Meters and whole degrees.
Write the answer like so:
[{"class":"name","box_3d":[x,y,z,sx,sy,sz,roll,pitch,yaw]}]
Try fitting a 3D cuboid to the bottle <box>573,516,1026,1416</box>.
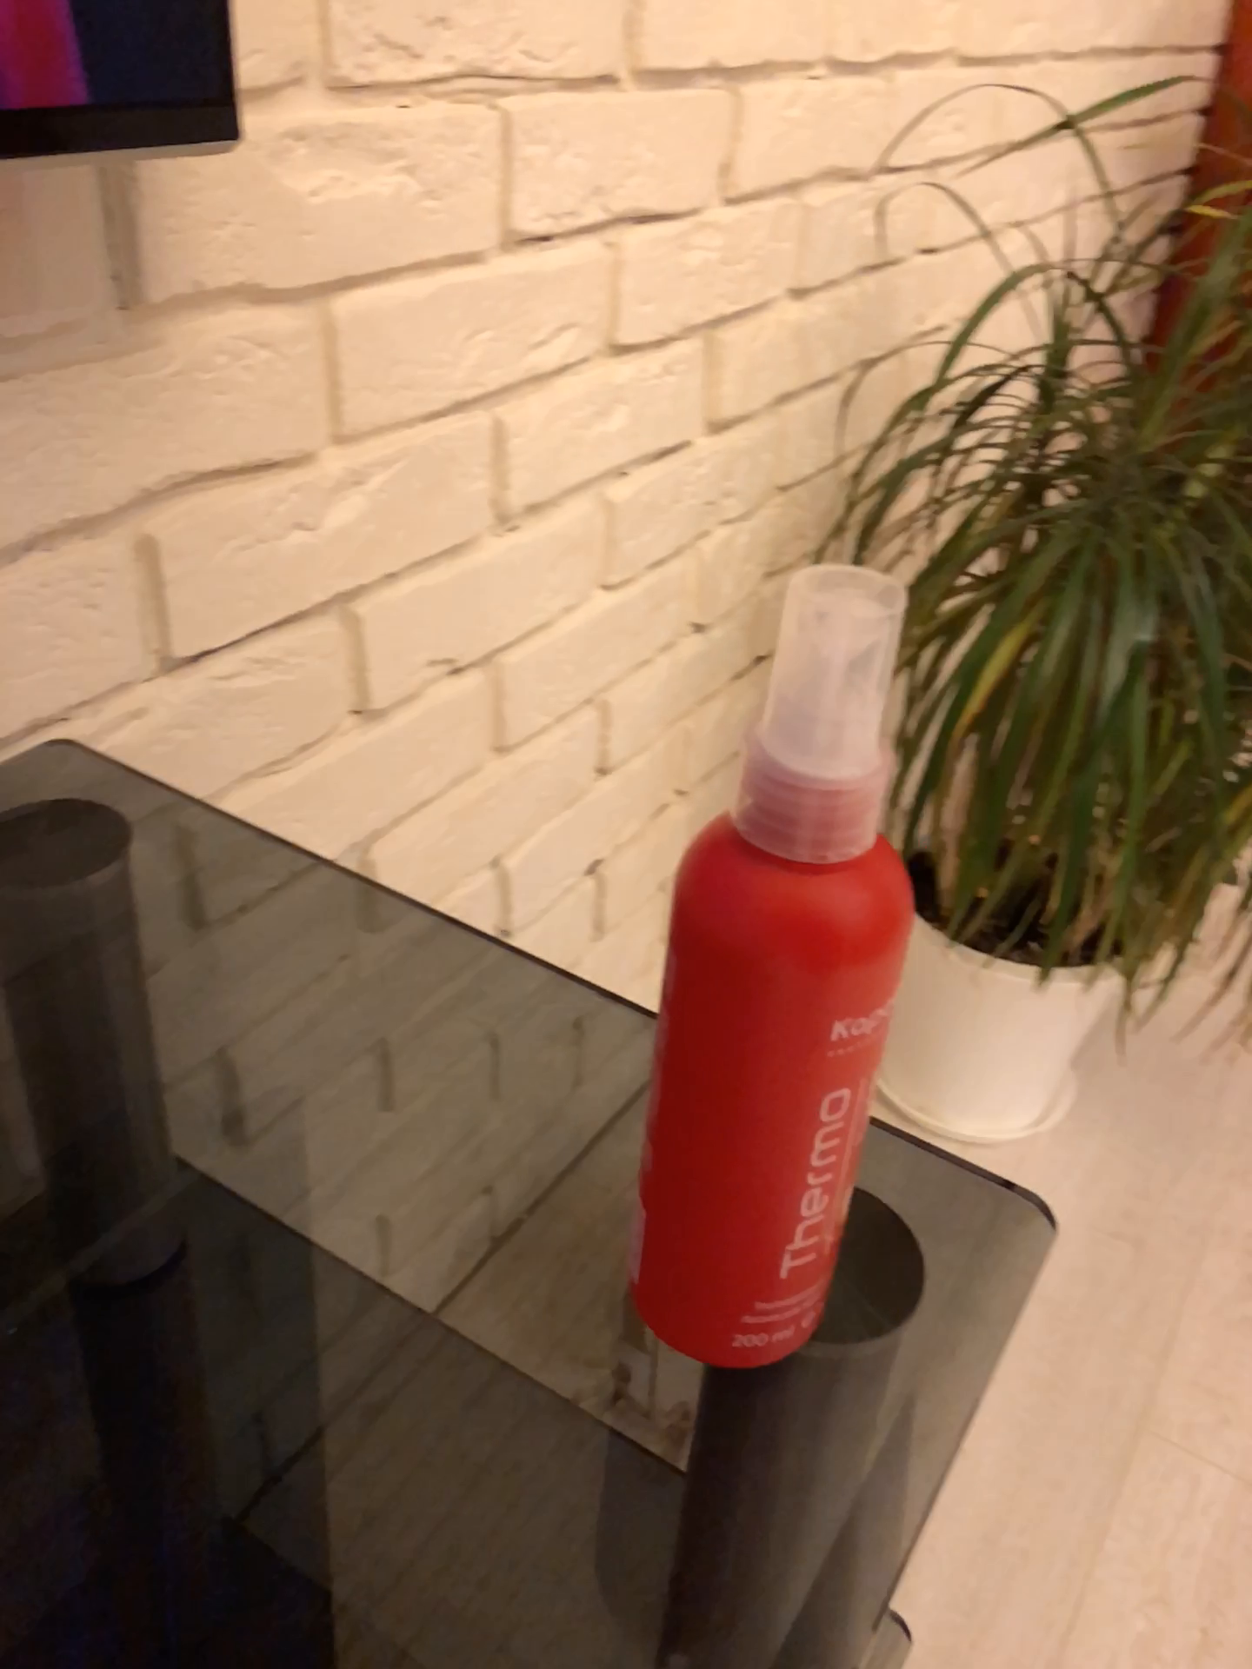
[{"class":"bottle","box_3d":[0.029,0.033,0.284,0.052,0.179,0.048,3,32,-2]}]
